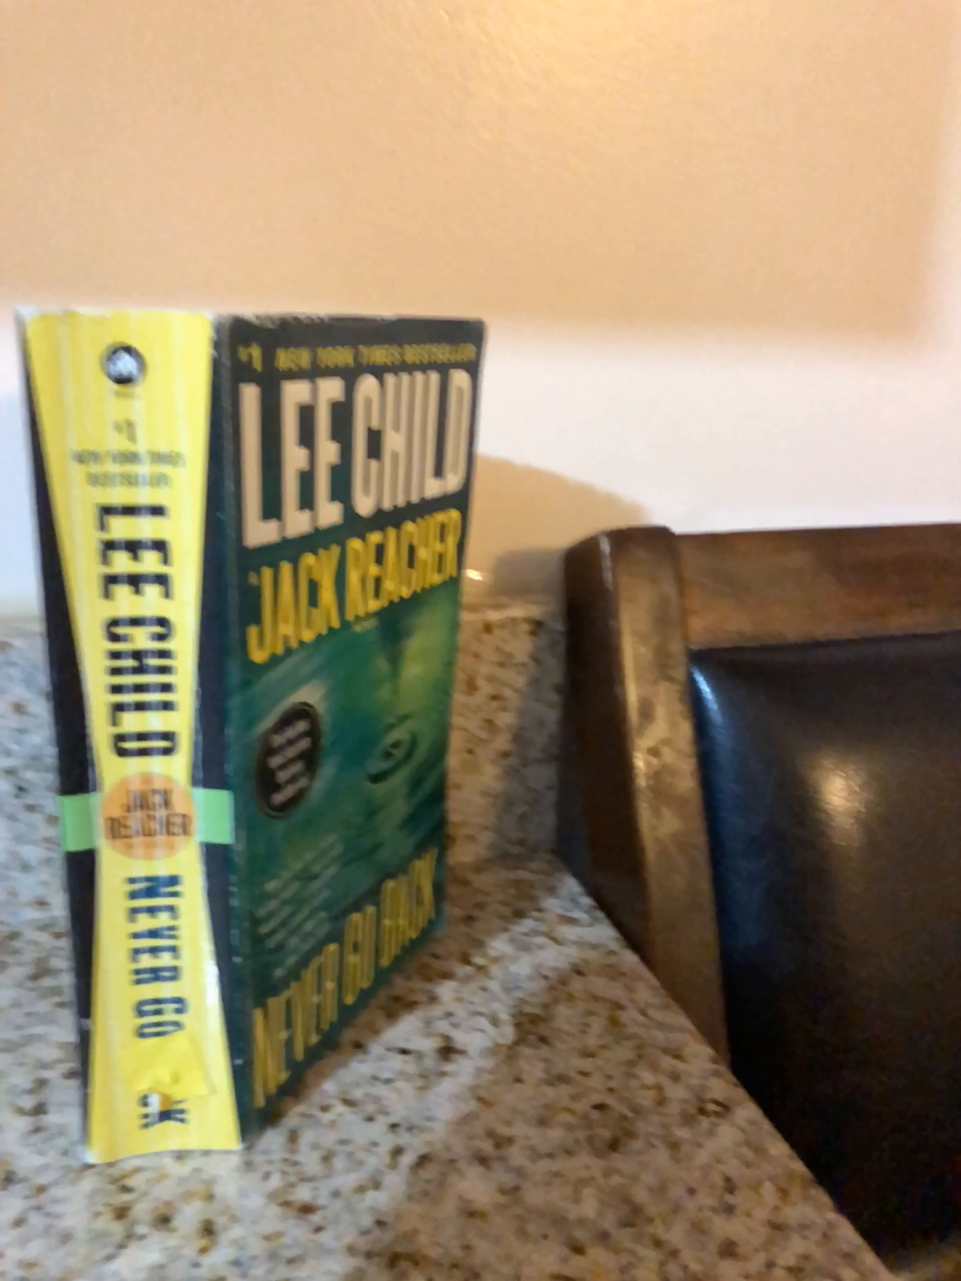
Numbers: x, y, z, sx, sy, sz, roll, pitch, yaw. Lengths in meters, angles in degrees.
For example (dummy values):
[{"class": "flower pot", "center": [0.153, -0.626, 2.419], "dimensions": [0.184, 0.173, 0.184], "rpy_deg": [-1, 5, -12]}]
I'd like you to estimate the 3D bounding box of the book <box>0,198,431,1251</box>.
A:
[{"class": "book", "center": [-0.062, 0.008, 0.292], "dimensions": [0.050, 0.219, 0.161], "rpy_deg": [6, 16, 10]}]
